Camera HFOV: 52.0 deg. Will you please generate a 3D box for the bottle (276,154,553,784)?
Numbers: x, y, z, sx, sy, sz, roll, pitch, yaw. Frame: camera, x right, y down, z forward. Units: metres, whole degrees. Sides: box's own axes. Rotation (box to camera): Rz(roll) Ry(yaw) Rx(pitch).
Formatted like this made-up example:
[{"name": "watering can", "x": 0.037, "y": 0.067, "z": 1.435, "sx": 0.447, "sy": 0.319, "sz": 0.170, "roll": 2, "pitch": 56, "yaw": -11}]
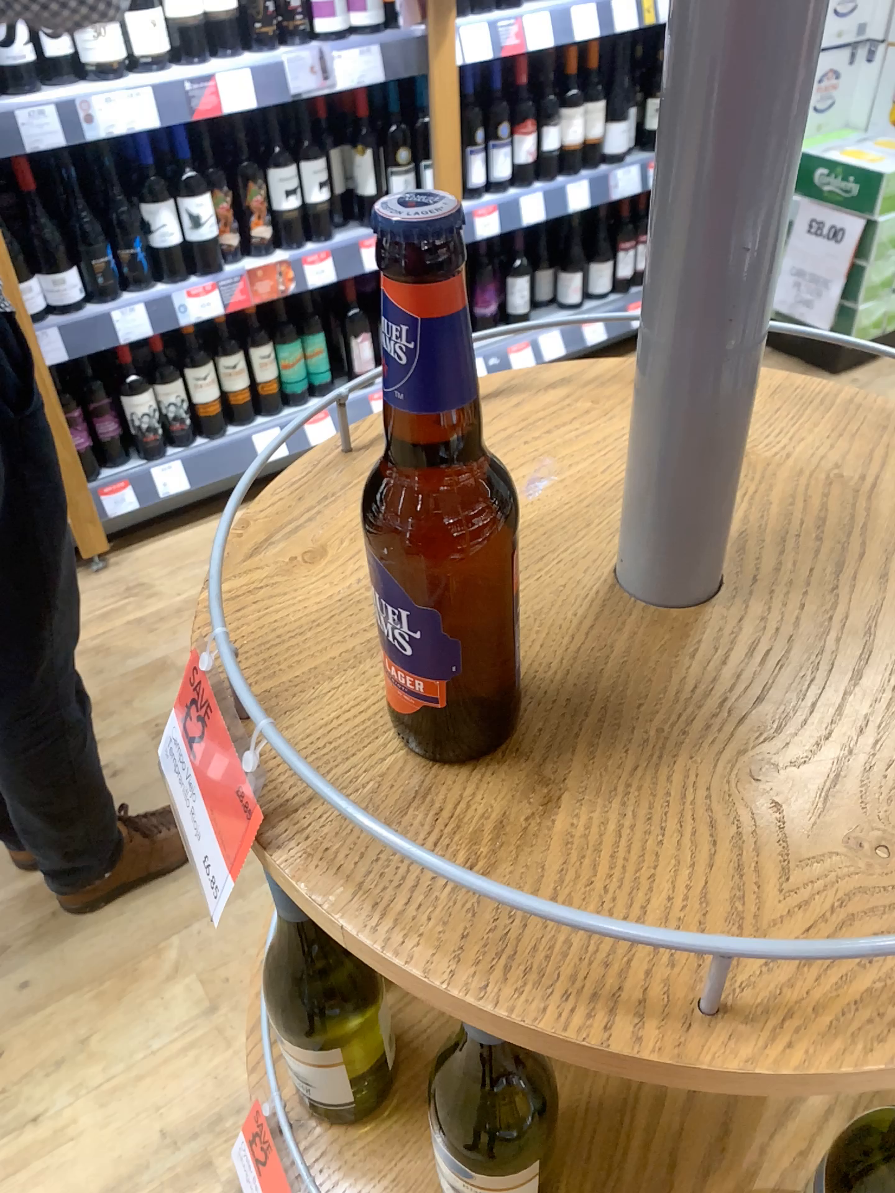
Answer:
[{"name": "bottle", "x": -0.007, "y": -0.033, "z": 0.327, "sx": 0.061, "sy": 0.211, "sz": 0.063, "roll": -2, "pitch": 40, "yaw": 2}]
